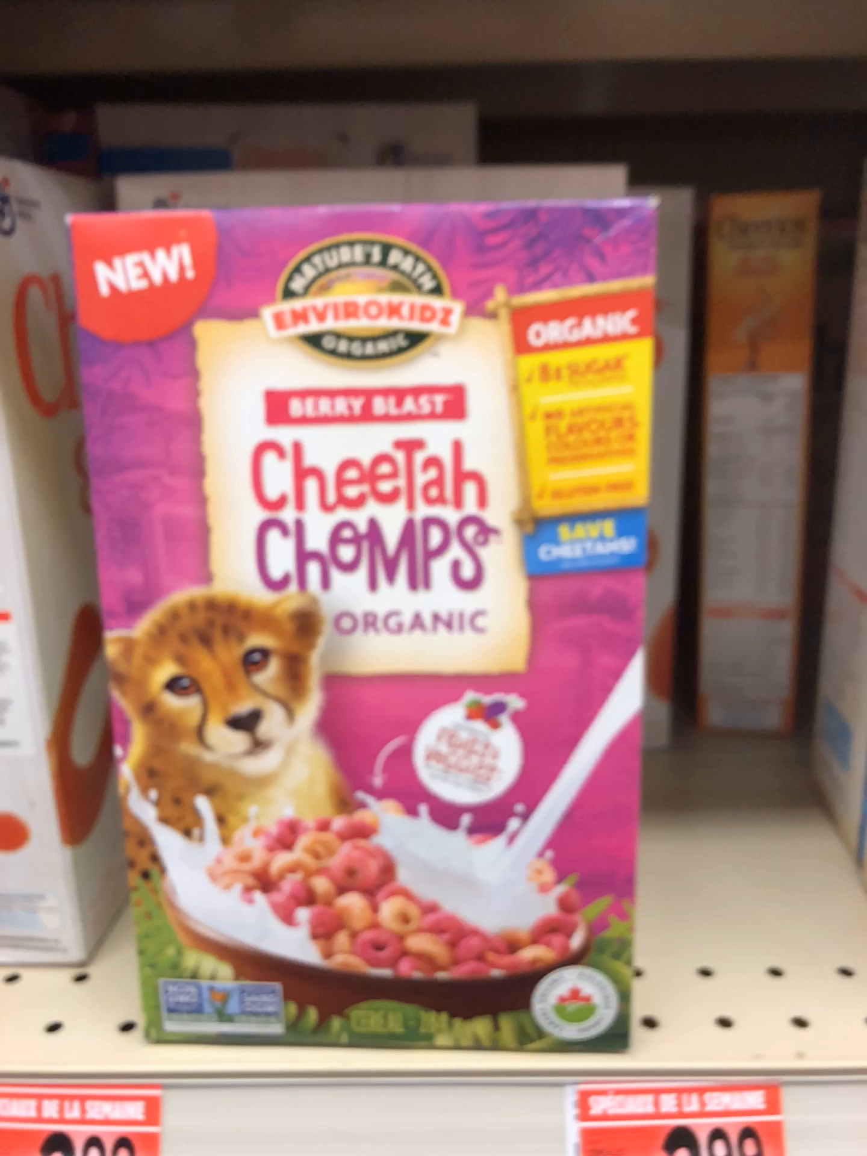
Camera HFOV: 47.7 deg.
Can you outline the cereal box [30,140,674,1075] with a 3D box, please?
[{"bbox_3d":[-0.017,0.013,0.303,0.160,0.259,0.070,0,12,4],"label":"cereal box"}]
